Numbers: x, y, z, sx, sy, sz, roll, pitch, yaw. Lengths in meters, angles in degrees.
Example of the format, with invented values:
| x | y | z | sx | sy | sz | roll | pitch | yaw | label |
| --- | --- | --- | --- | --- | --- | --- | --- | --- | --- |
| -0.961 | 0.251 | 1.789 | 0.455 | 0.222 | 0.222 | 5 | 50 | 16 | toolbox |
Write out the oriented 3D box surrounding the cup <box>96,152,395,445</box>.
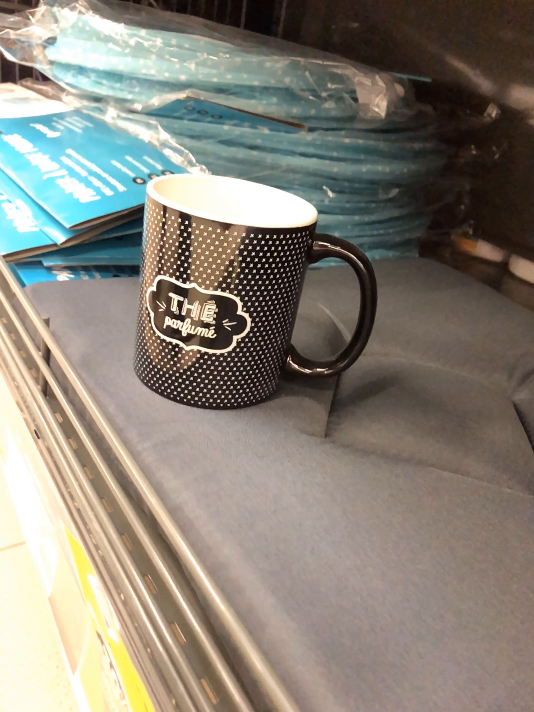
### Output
| x | y | z | sx | sy | sz | roll | pitch | yaw | label |
| --- | --- | --- | --- | --- | --- | --- | --- | --- | --- |
| -0.008 | -0.035 | 0.301 | 0.120 | 0.099 | 0.091 | 13 | 26 | 4 | cup |
